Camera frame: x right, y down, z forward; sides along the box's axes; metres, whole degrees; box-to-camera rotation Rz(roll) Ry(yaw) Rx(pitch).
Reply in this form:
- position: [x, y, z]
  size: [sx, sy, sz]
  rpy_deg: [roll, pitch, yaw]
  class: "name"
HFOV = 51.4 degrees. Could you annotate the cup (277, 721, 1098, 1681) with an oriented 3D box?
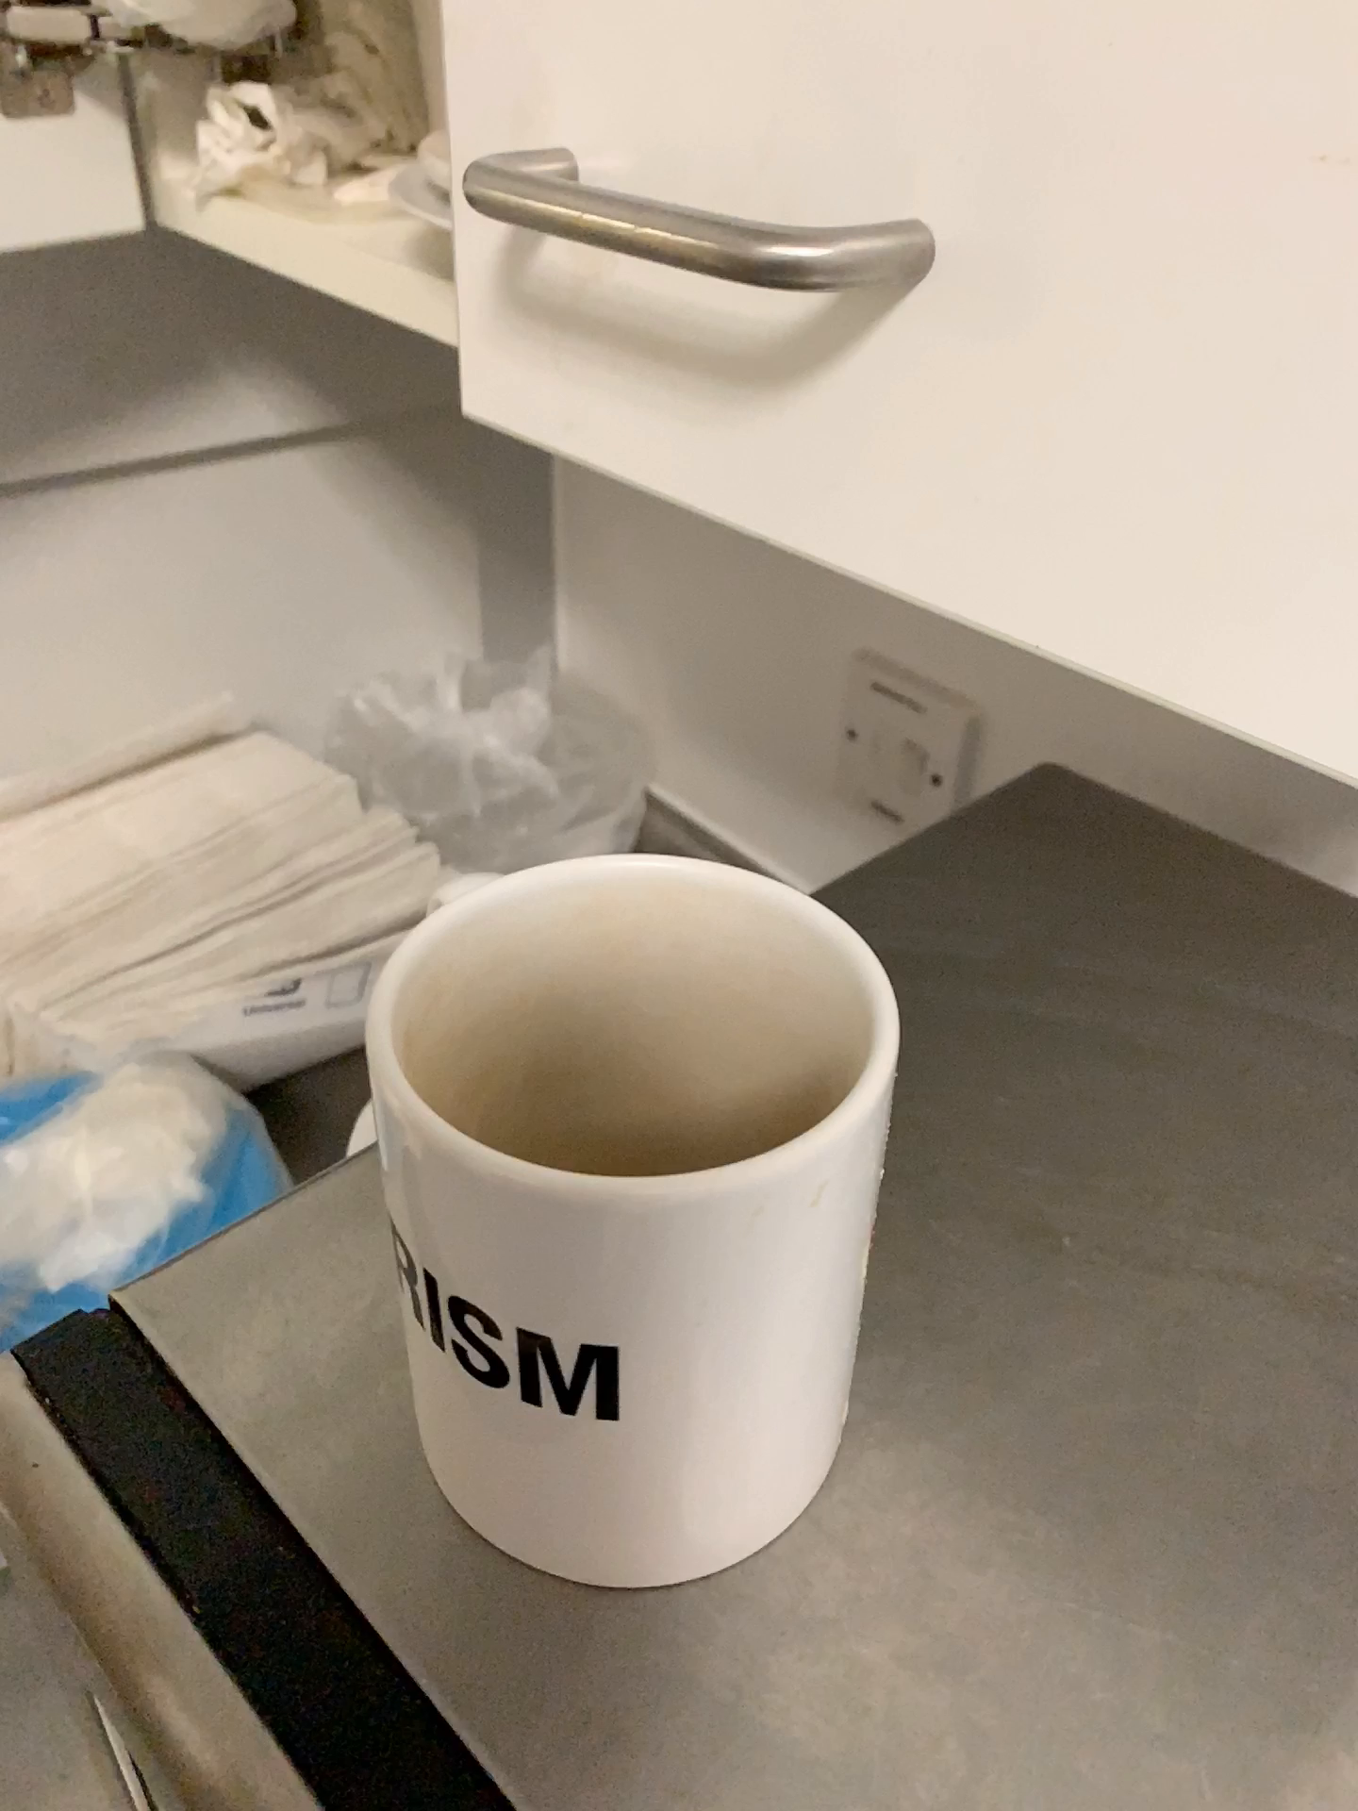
- position: [-0.007, 0.043, 0.259]
  size: [0.094, 0.099, 0.114]
  rpy_deg: [-14, 37, -23]
  class: "cup"
